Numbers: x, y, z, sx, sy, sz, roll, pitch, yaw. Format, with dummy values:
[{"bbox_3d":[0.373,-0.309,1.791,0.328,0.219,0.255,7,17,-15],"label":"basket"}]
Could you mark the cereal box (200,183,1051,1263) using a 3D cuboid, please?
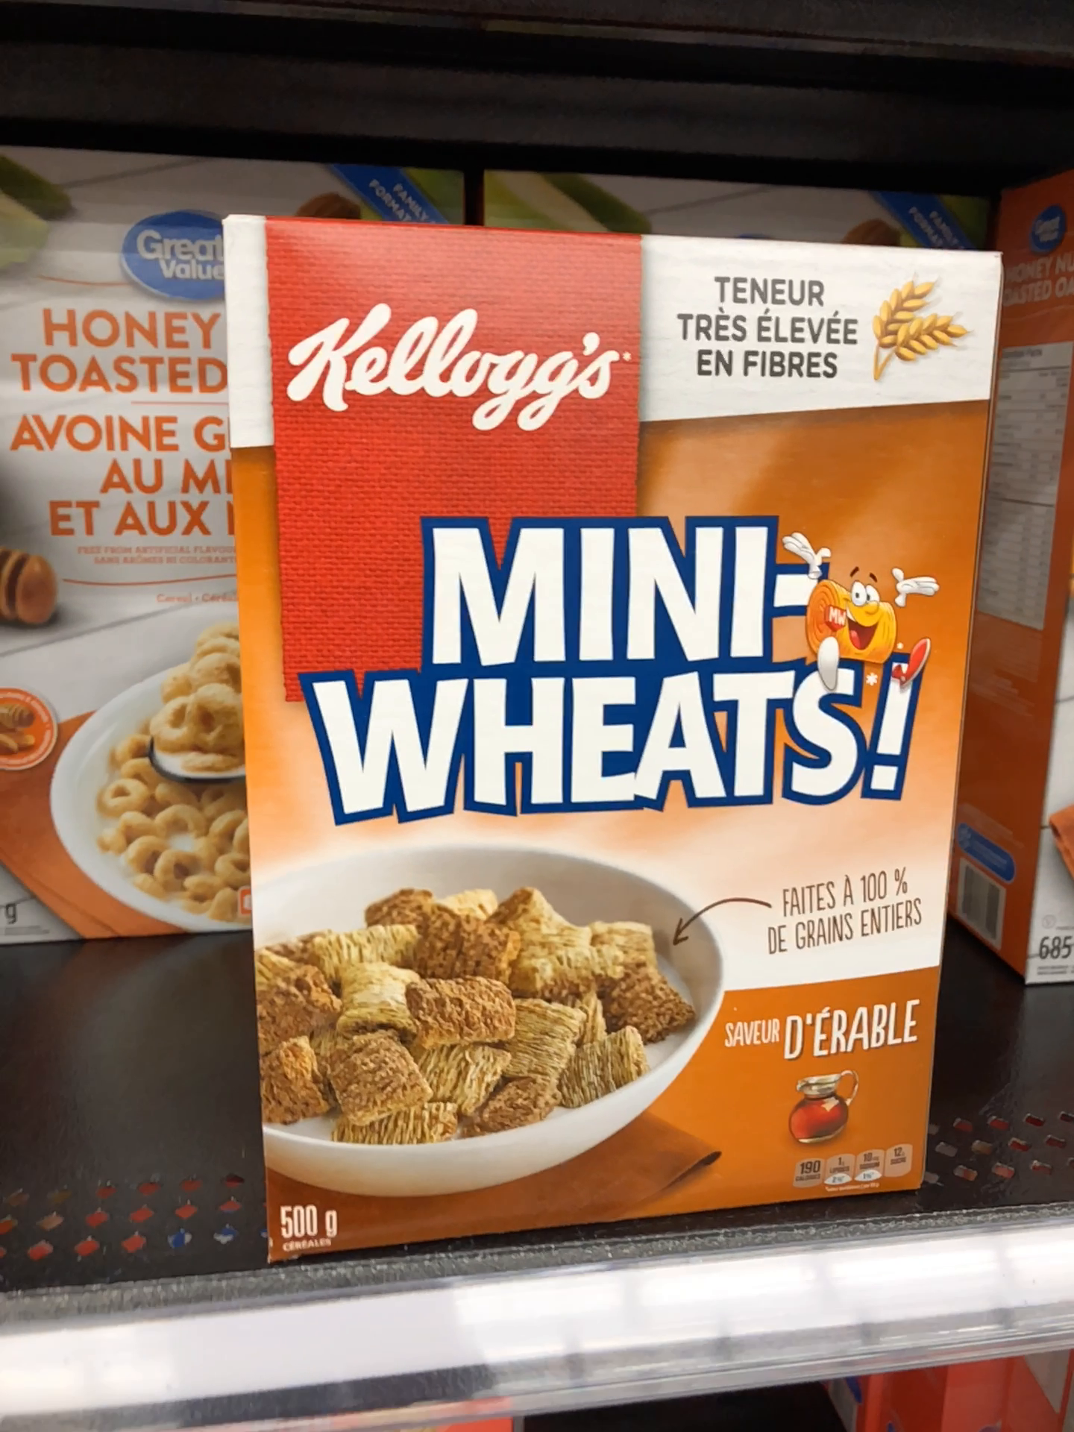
[{"bbox_3d":[0.020,0.005,0.332,0.200,0.269,0.060,-2,13,-9],"label":"cereal box"}]
